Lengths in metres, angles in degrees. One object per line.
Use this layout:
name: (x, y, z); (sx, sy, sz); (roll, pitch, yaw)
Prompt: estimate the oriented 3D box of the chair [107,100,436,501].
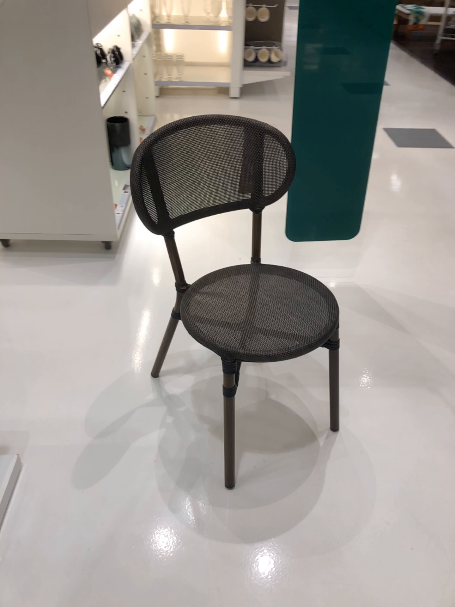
chair: (0.060, -0.031, 1.302); (0.471, 0.764, 0.553); (-20, 42, -26)
